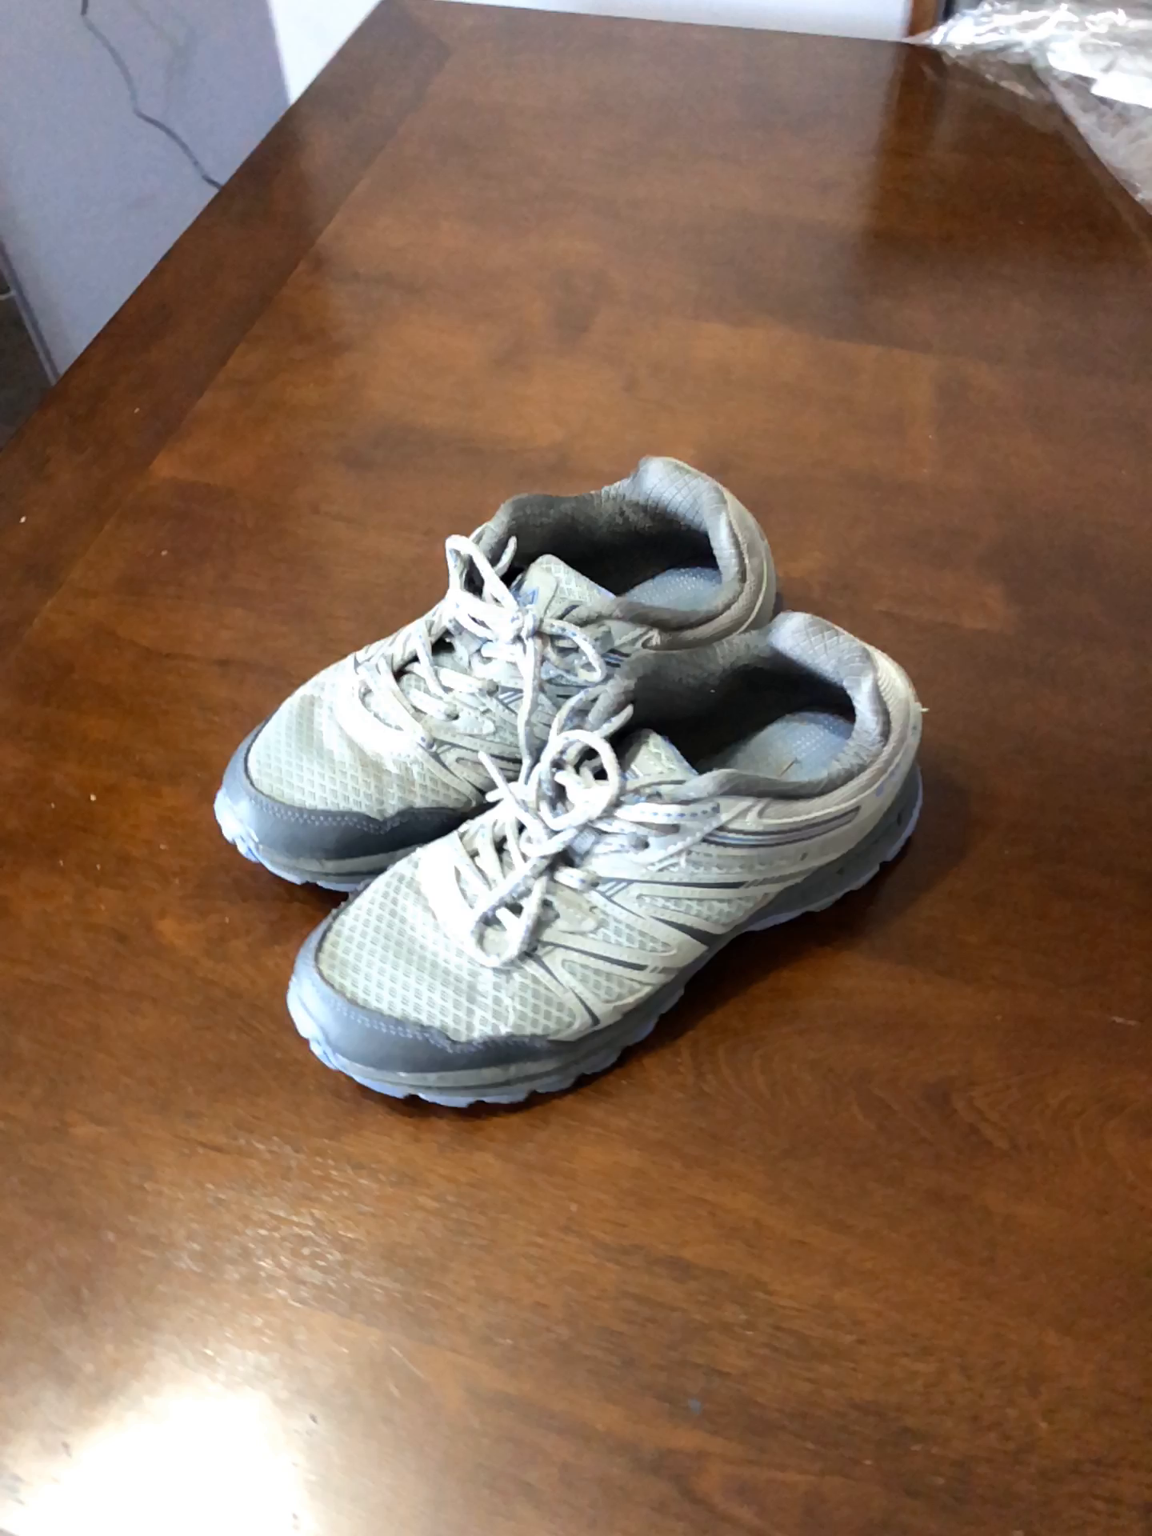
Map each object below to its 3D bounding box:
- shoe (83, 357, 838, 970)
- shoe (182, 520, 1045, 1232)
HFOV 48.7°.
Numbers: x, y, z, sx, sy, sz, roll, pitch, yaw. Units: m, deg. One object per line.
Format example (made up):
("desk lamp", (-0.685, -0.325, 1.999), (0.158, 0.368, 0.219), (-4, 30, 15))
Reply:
("shoe", (-0.037, -0.047, 0.497), (0.250, 0.100, 0.110), (-28, 57, -17))
("shoe", (0.017, 0.031, 0.450), (0.260, 0.100, 0.110), (-27, 56, -17))
